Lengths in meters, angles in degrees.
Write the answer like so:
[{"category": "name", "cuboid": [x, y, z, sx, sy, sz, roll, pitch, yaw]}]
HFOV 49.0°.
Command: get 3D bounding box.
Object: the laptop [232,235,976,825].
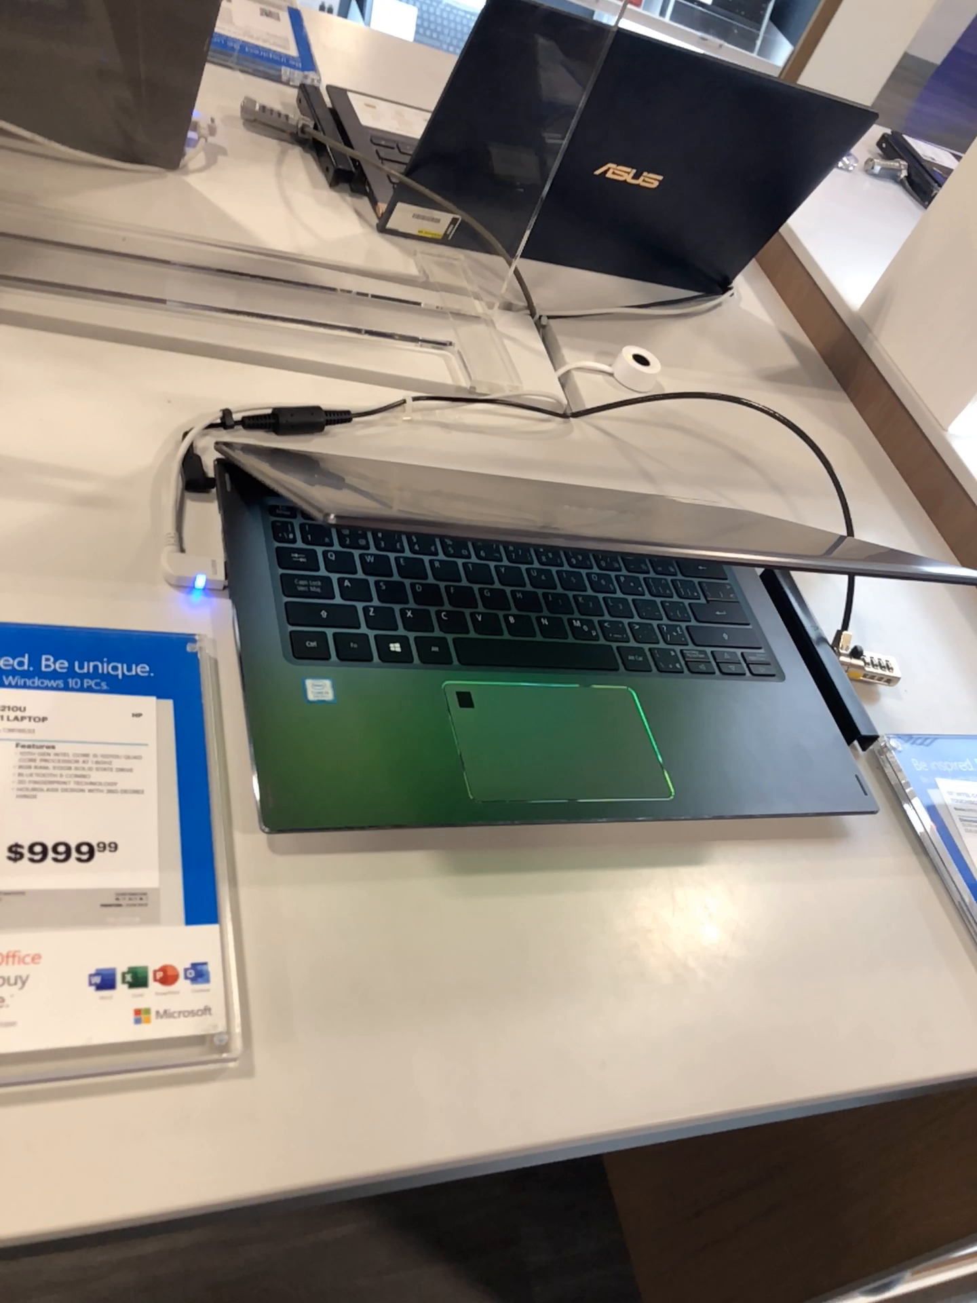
[{"category": "laptop", "cuboid": [0.054, -0.049, 0.493, 0.301, 0.123, 0.212, 3, 50, -25]}]
